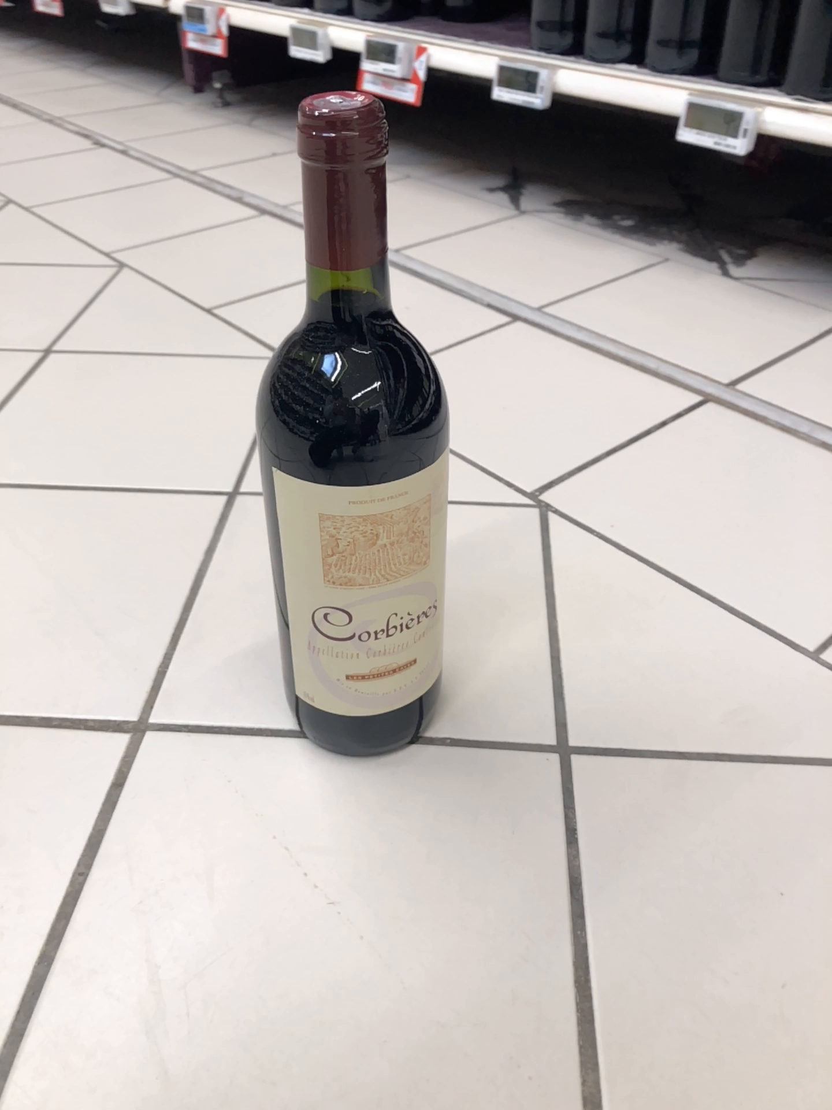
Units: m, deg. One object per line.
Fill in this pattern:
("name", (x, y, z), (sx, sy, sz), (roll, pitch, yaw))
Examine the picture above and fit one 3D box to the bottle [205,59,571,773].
("bottle", (-0.014, -0.043, 0.355), (0.090, 0.249, 0.090), (0, 37, 0))
